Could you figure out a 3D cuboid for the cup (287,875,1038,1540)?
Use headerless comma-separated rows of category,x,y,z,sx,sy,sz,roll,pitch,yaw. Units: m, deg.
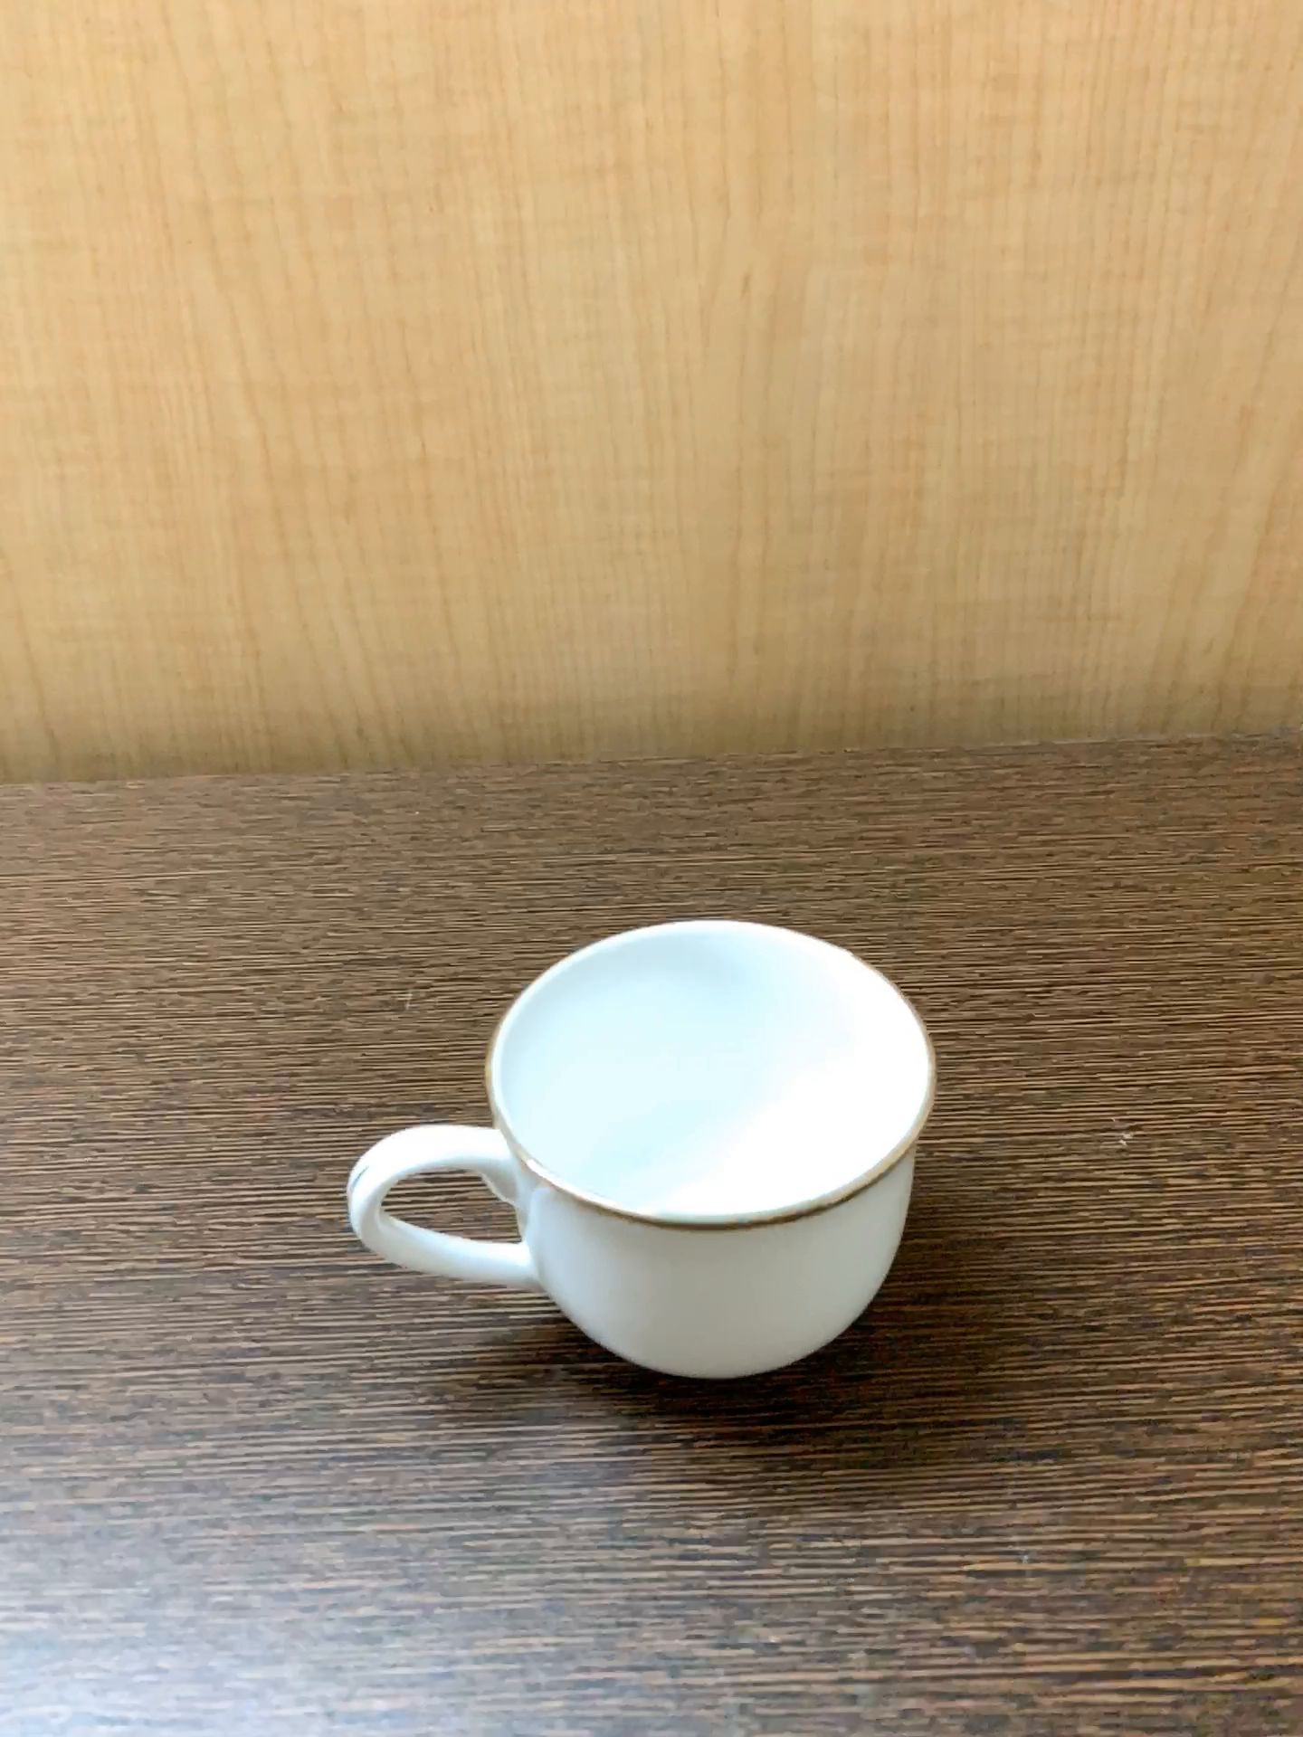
cup,-0.003,0.044,0.195,0.090,0.050,0.061,-8,33,-10
